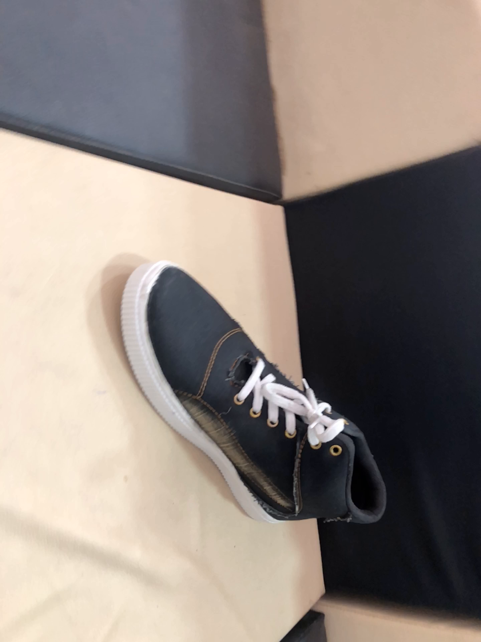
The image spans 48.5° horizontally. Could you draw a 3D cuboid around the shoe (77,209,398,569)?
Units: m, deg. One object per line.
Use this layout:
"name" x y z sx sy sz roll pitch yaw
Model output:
"shoe" 0.022 0.073 0.438 0.301 0.109 0.100 58 42 -31
